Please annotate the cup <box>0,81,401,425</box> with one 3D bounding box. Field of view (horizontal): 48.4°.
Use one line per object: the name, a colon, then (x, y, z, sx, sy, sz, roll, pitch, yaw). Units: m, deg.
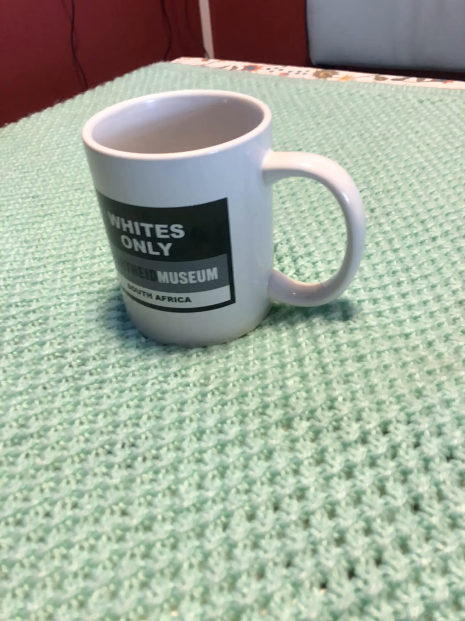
cup: (-0.016, -0.035, 0.213, 0.140, 0.079, 0.101, 12, 39, 18)
